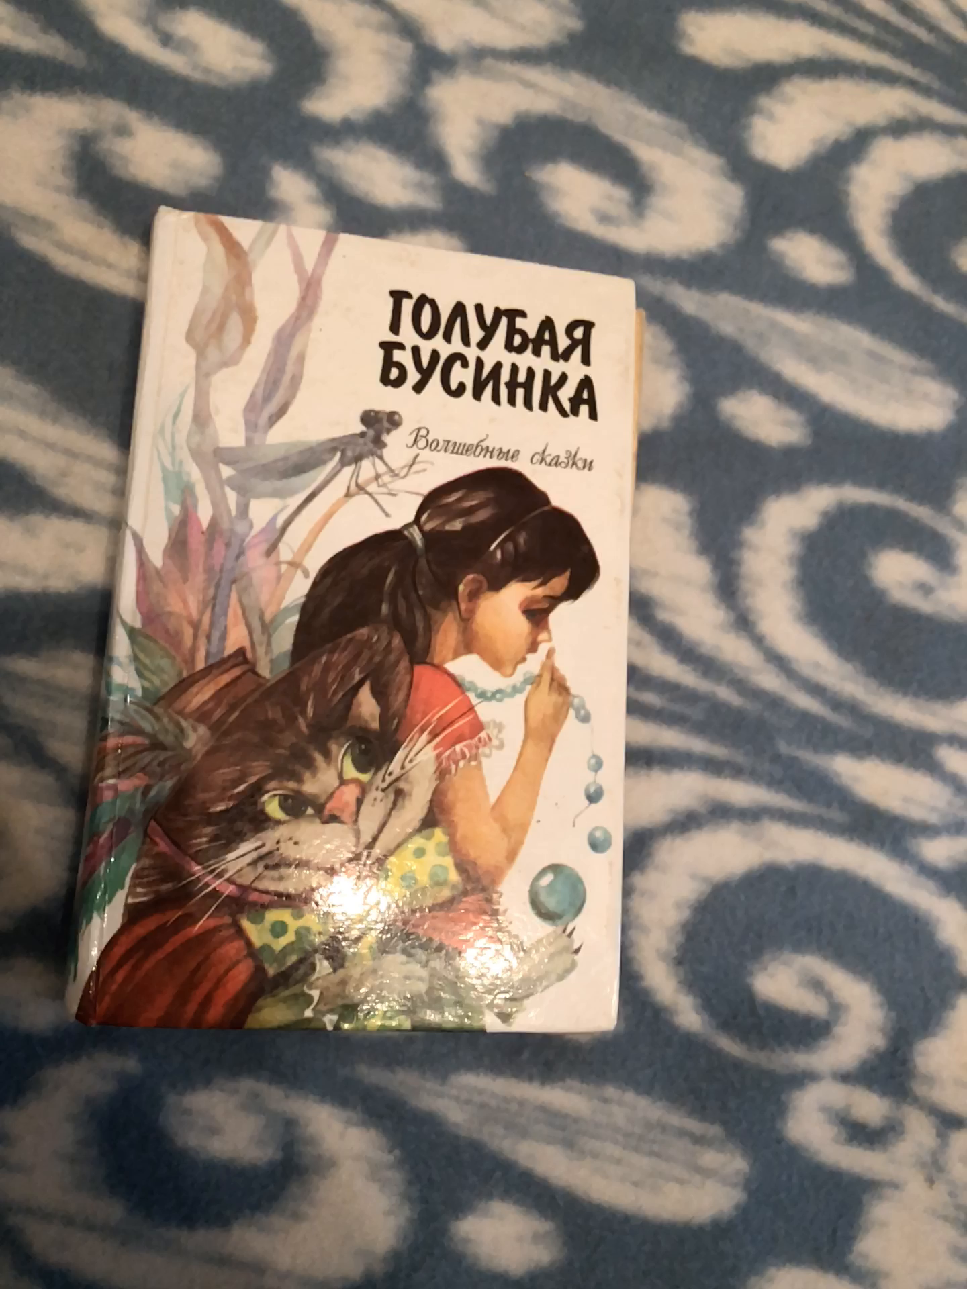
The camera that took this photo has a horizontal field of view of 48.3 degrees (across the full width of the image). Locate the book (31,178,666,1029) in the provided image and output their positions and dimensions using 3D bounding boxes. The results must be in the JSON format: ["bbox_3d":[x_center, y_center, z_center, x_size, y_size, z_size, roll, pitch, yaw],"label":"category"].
[{"bbox_3d":[-0.029,-0.008,0.290,0.145,0.040,0.206,5,80,-11],"label":"book"}]
